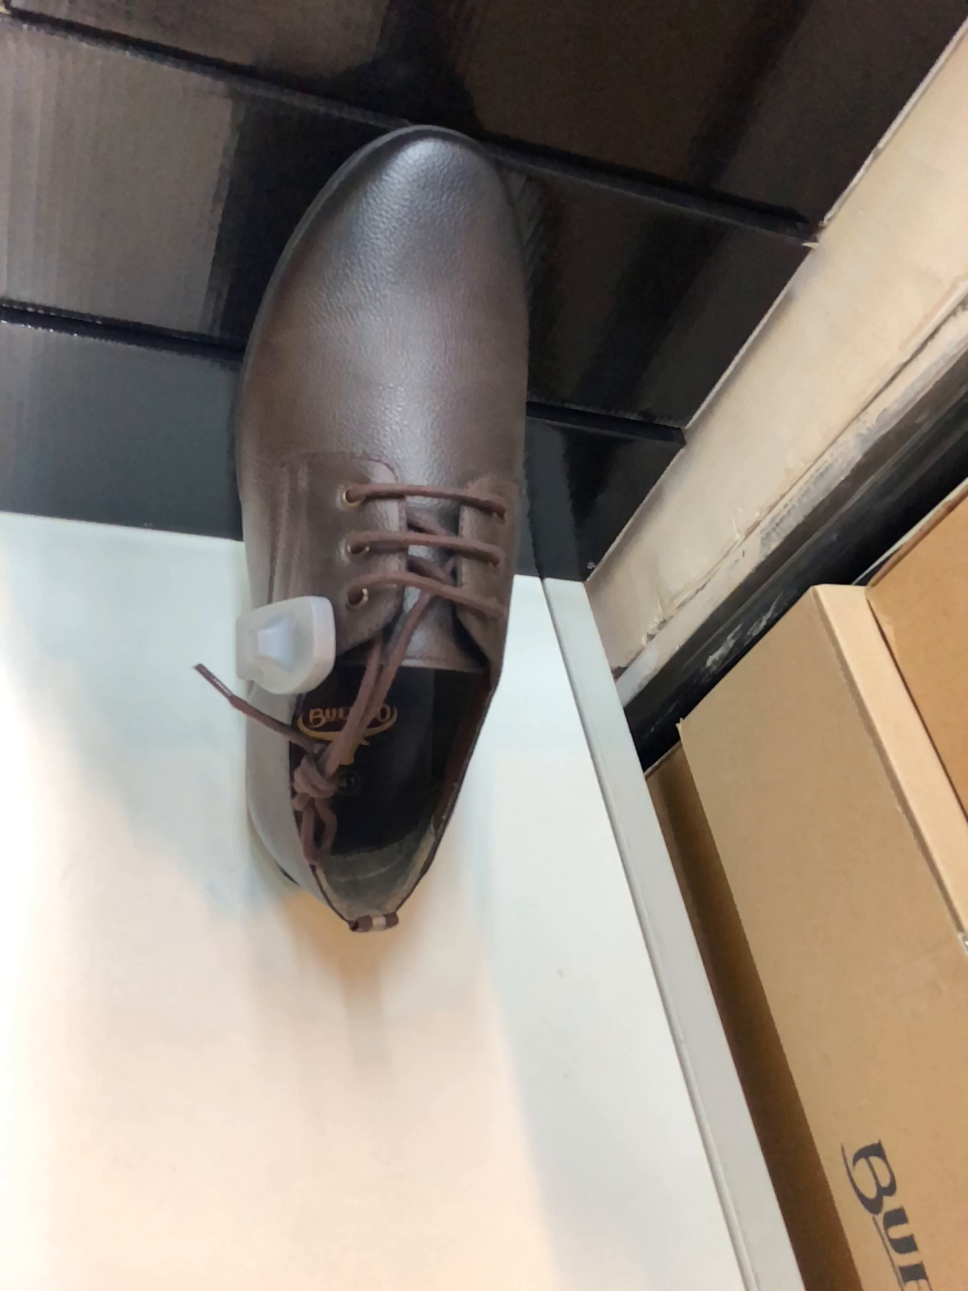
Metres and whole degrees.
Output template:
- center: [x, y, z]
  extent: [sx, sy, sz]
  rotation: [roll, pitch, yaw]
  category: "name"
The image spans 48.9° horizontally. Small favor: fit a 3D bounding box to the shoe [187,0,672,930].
- center: [-0.032, -0.056, 0.366]
  extent: [0.111, 0.271, 0.116]
  rotation: [5, 10, -17]
  category: "shoe"
